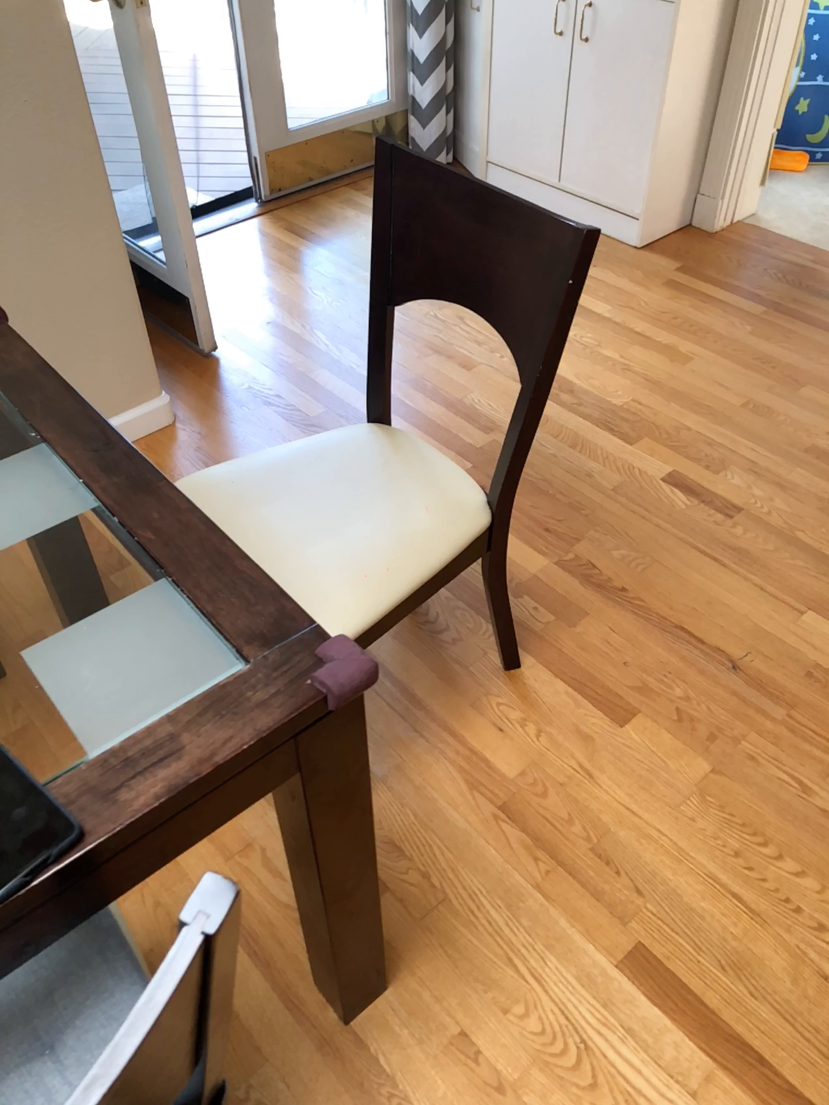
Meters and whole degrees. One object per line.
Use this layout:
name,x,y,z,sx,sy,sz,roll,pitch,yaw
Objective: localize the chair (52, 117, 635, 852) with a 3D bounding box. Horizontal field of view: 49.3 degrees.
chair,-0.100,-0.103,1.581,0.591,0.994,0.562,-29,49,-27
